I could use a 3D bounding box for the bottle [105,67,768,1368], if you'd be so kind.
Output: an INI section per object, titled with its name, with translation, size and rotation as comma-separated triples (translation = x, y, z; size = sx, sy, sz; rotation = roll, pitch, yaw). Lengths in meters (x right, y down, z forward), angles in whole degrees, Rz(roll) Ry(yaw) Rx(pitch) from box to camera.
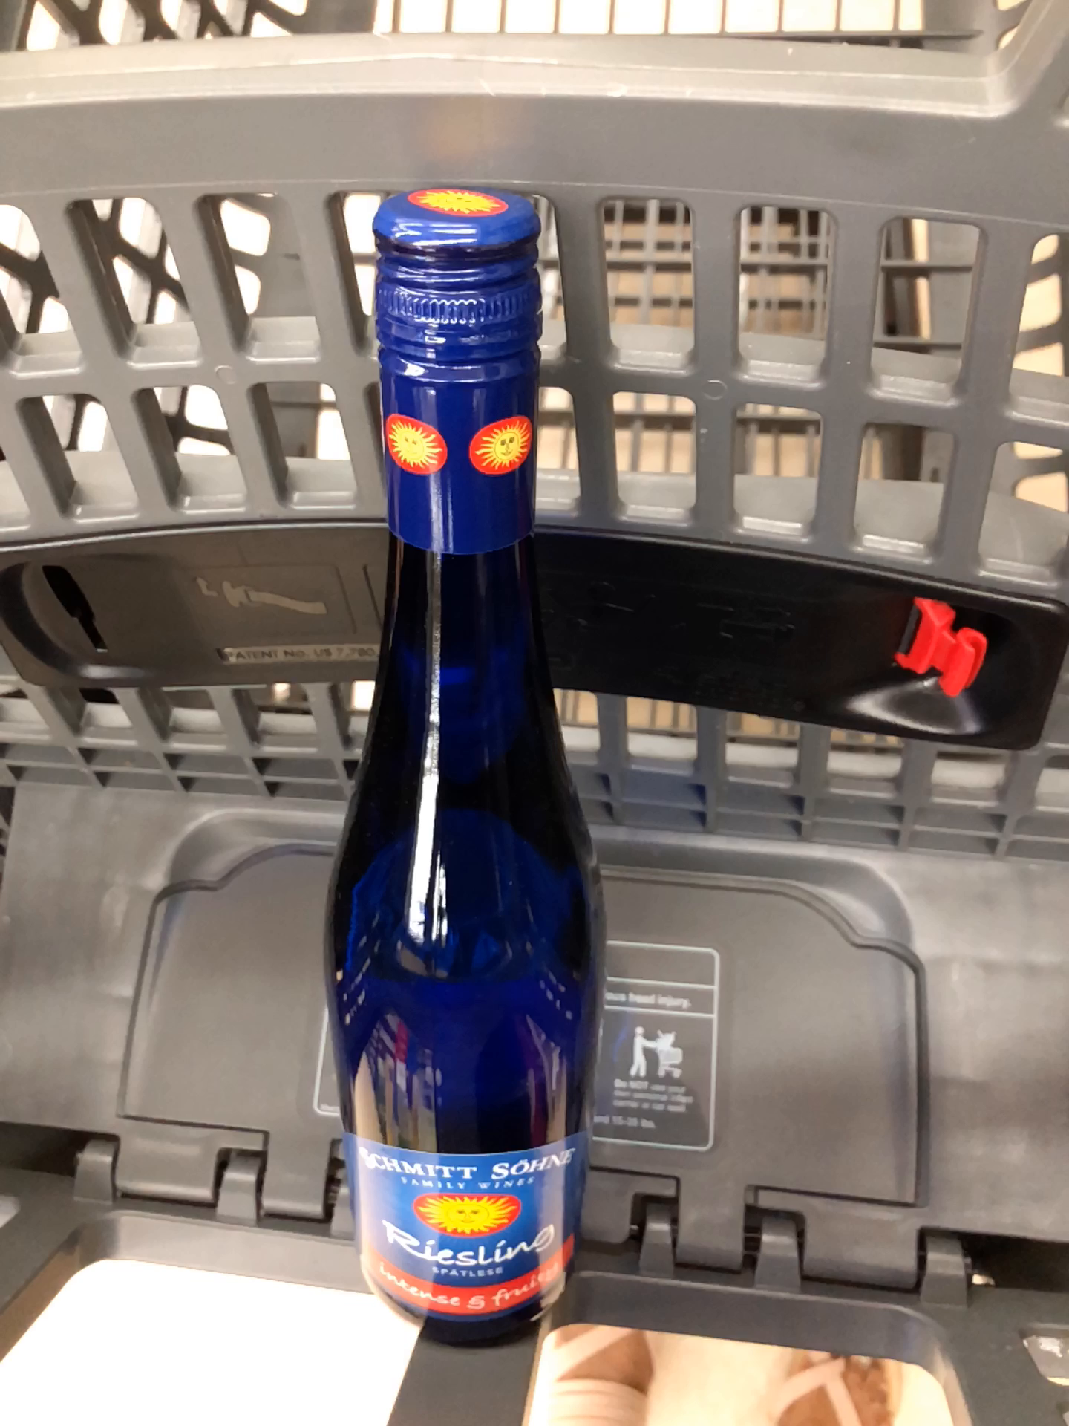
[bottle]
translation = -0.015, 0.033, 0.320
size = 0.100, 0.100, 0.351
rotation = 4, 125, 3
